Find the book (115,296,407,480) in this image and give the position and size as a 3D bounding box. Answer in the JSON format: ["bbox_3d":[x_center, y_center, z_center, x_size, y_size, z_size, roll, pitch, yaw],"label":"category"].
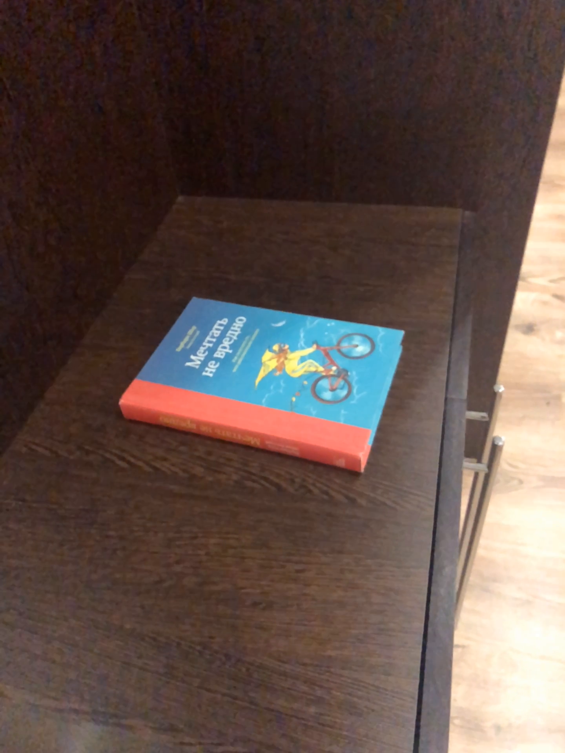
[{"bbox_3d":[-0.013,0.000,0.539,0.211,0.025,0.146,11,47,16],"label":"book"}]
